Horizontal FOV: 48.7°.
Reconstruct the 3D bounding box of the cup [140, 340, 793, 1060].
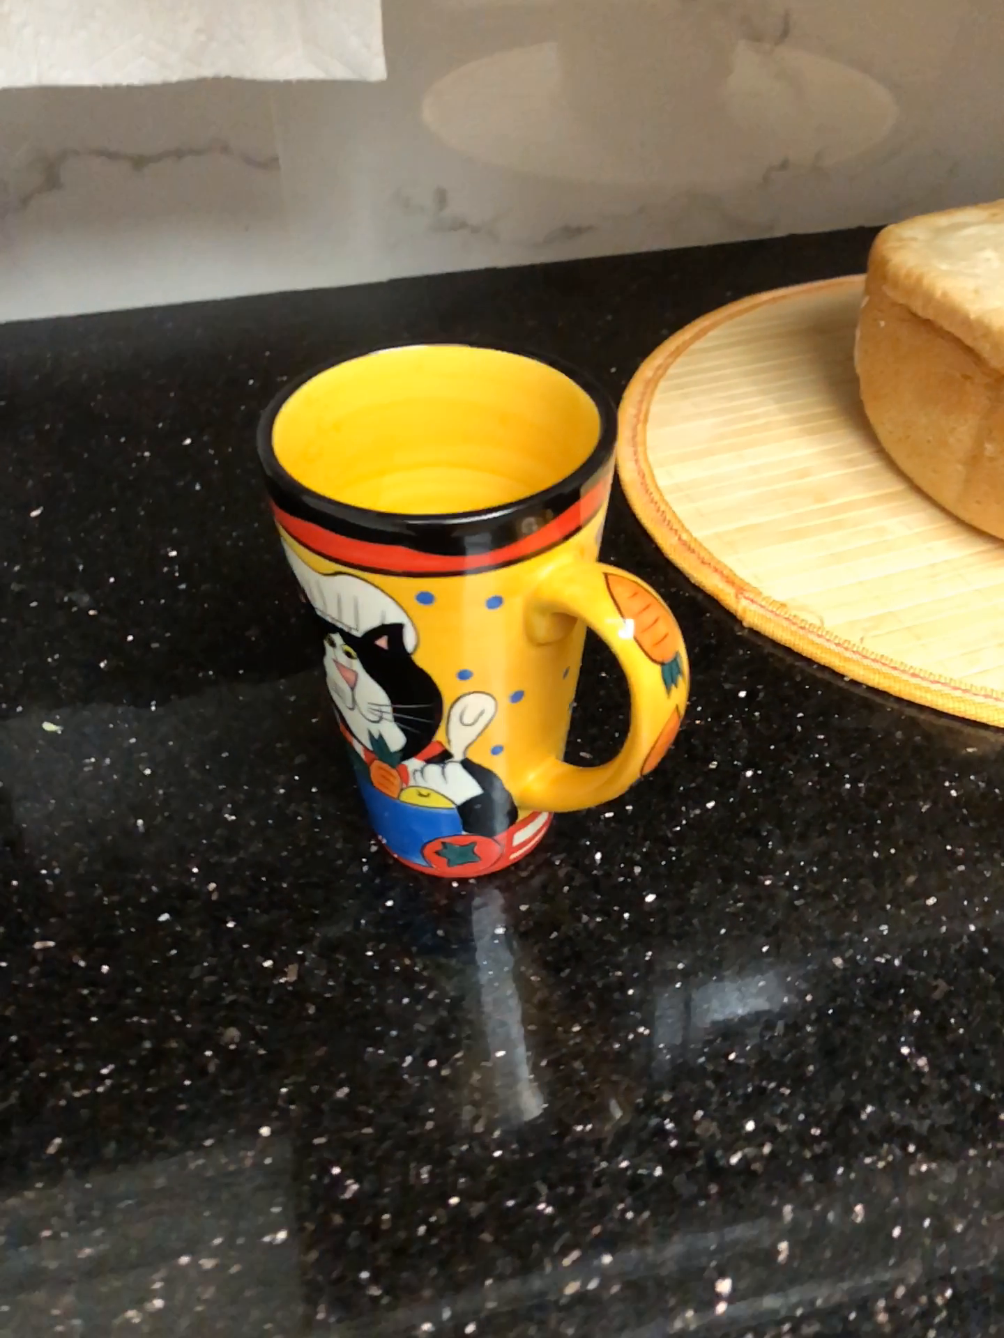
[{"bbox_3d":[-0.008,0.005,0.313,0.130,0.139,0.090,25,48,28],"label":"cup"}]
